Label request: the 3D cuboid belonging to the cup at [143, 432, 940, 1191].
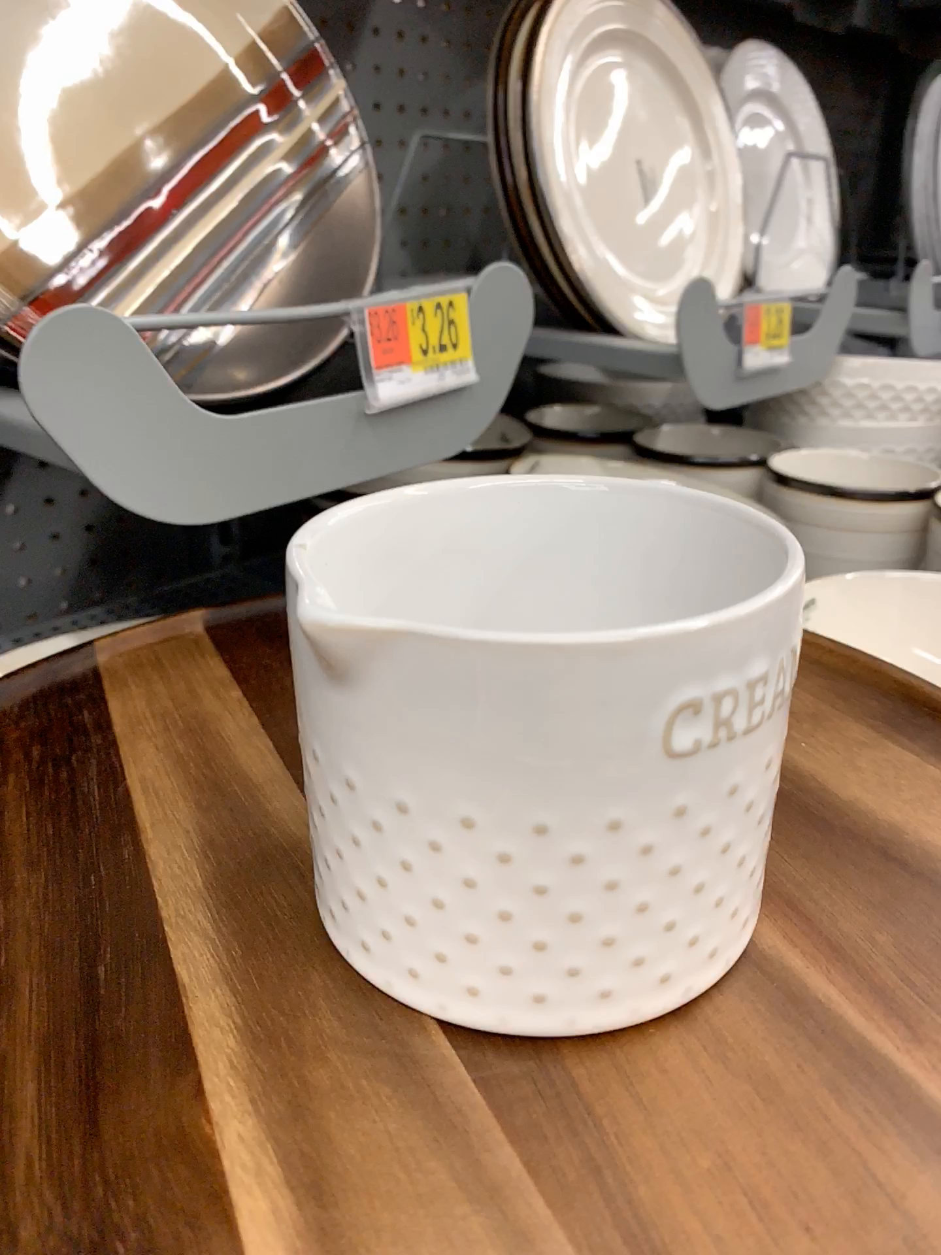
[{"bbox_3d":[0.023,0.018,0.228,0.150,0.090,0.100,-20,31,-38],"label":"cup"}]
